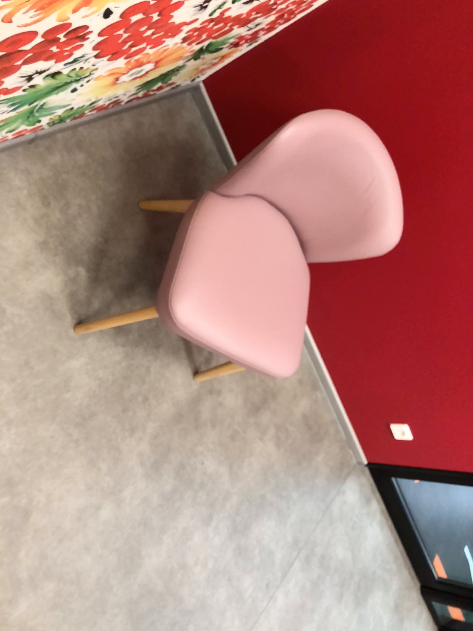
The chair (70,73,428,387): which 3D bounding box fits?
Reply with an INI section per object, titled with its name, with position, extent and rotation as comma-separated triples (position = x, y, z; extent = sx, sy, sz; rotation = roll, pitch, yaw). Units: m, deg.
[chair]
position = 0.030, -0.138, 1.473
extent = 0.512, 0.785, 0.541
rotation = 29, 64, -40
